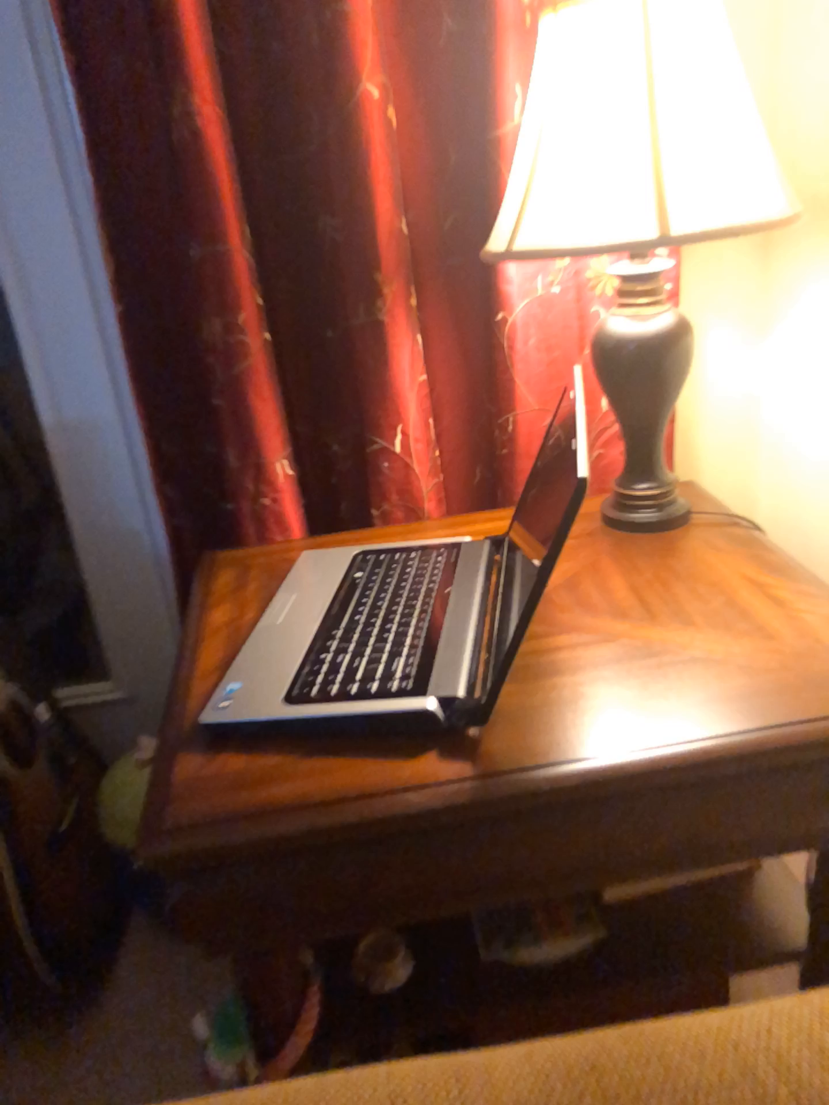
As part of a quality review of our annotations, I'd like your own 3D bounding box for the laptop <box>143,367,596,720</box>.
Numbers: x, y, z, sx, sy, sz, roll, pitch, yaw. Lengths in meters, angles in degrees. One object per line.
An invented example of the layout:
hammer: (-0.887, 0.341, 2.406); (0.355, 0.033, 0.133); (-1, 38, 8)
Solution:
laptop: (-0.008, -0.028, 0.905); (0.350, 0.204, 0.363); (-3, 24, 10)
